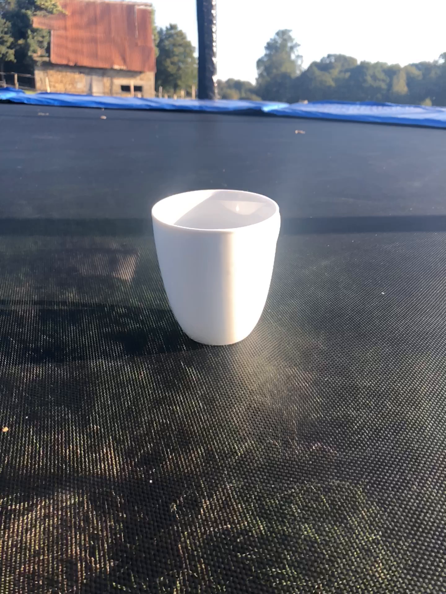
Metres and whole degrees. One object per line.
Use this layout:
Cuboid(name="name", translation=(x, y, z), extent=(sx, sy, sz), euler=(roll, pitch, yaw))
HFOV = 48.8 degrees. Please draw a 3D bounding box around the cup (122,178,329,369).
Cuboid(name="cup", translation=(0.002, -0.027, 0.372), extent=(0.100, 0.089, 0.111), euler=(23, 35, 35))
